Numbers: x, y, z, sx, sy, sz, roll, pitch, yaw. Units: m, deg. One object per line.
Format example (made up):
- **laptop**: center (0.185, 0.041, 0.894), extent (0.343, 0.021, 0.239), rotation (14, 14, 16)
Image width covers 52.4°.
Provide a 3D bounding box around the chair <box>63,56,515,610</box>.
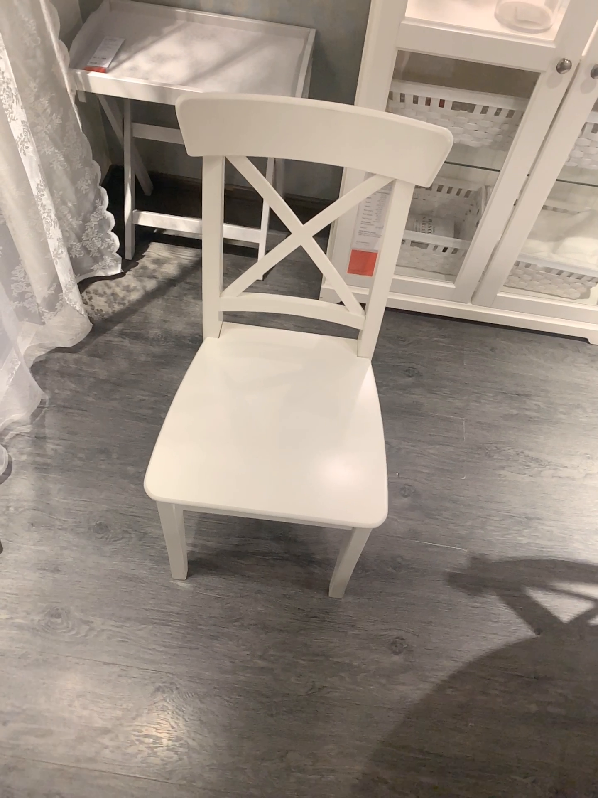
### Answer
- **chair**: center (-0.014, -0.018, 1.080), extent (0.440, 0.858, 0.491), rotation (8, 56, 0)
